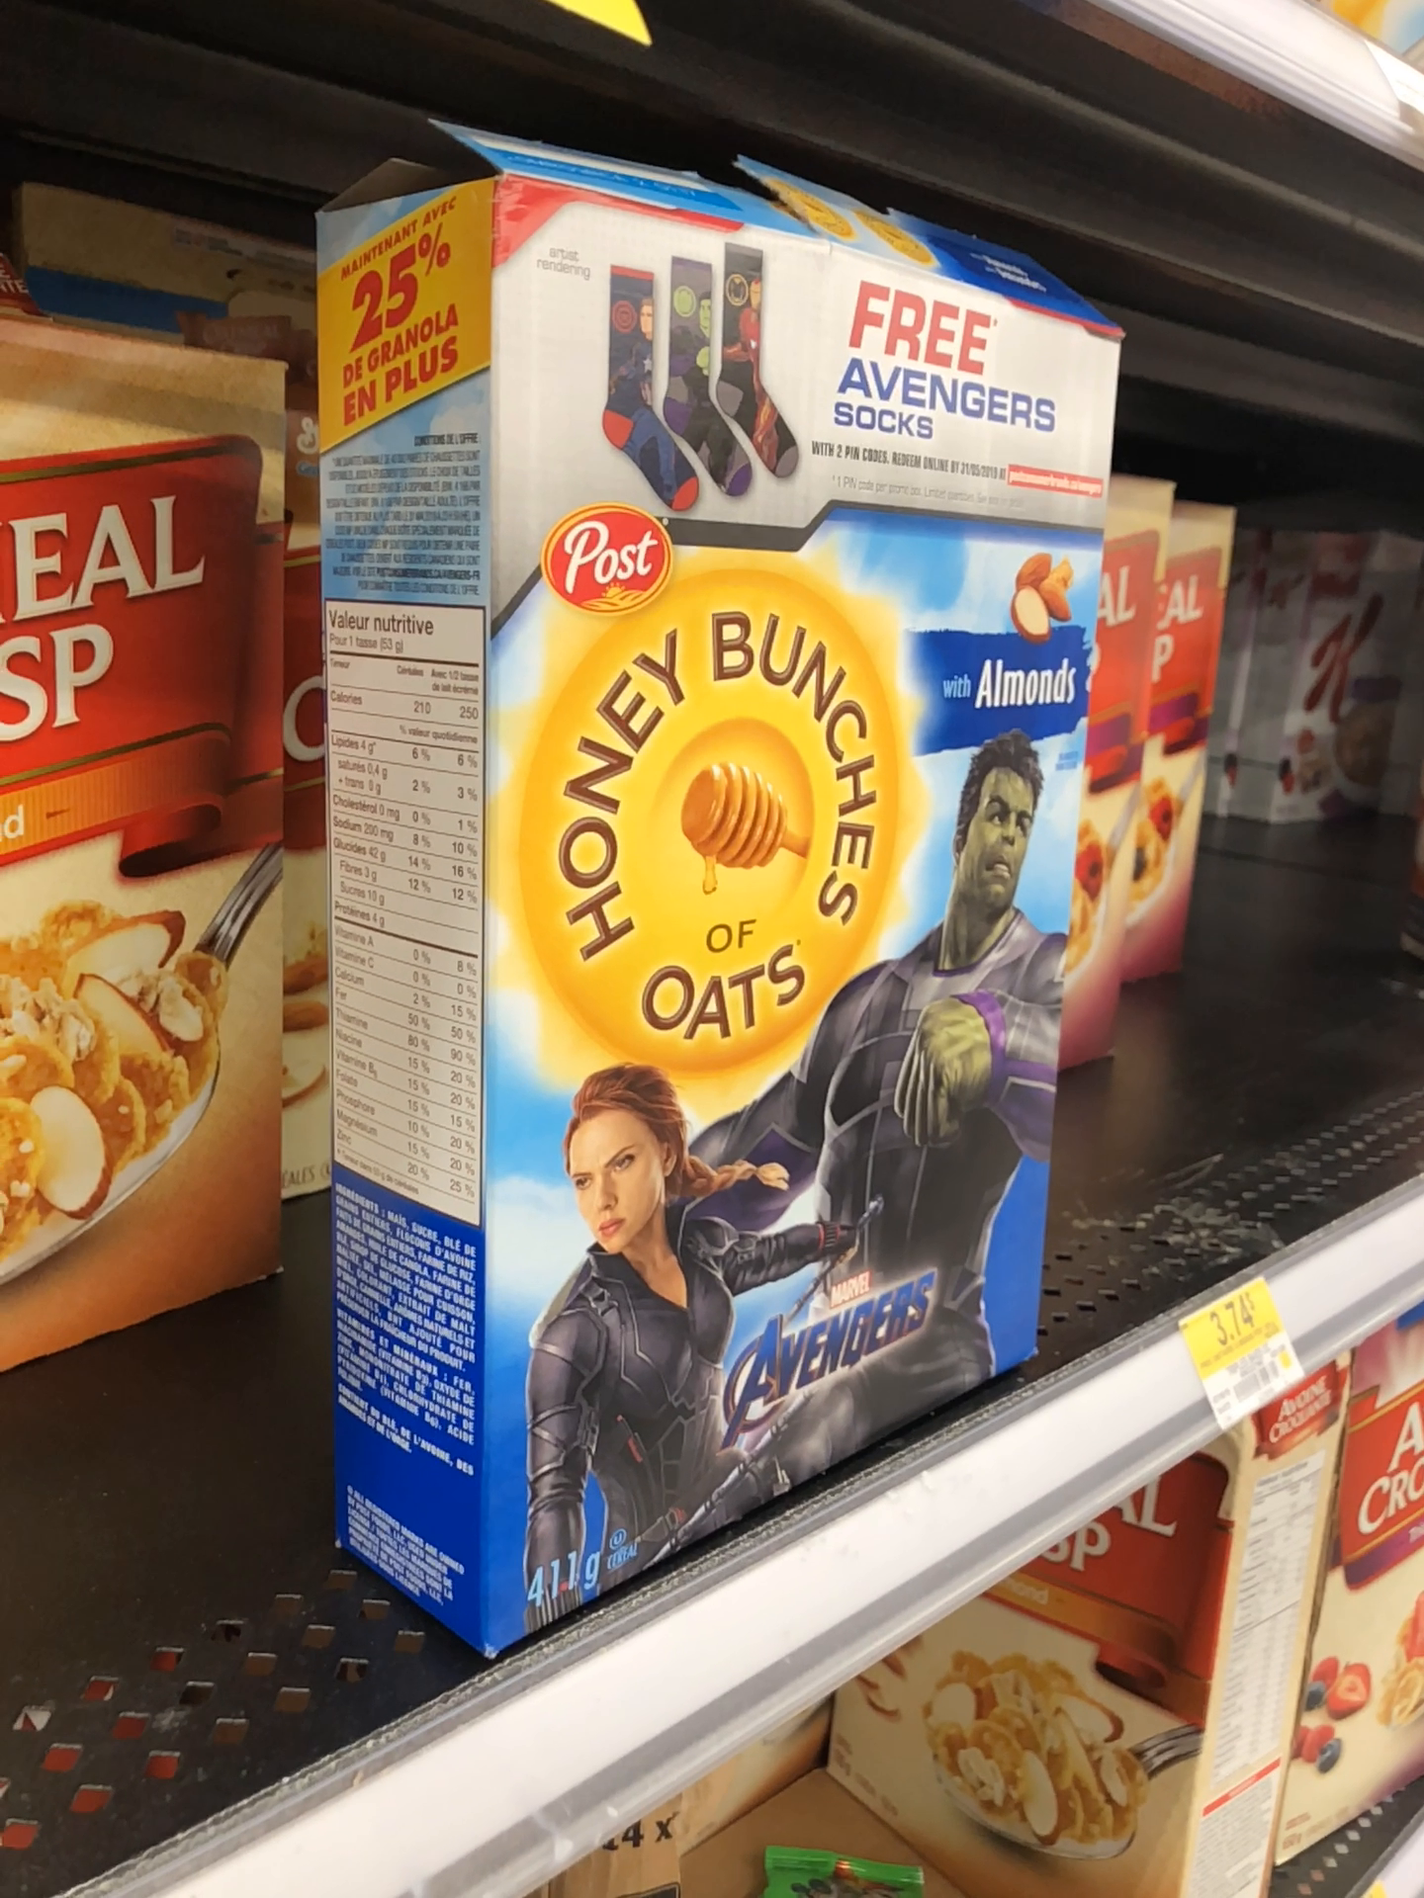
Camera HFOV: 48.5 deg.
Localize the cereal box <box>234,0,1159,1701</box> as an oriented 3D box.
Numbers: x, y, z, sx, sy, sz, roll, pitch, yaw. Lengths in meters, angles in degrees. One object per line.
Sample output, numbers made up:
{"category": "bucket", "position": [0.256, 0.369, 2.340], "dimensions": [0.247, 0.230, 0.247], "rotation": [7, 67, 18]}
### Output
{"category": "cereal box", "position": [0.001, -0.020, 0.358], "dimensions": [0.070, 0.289, 0.200], "rotation": [16, 18, 43]}
